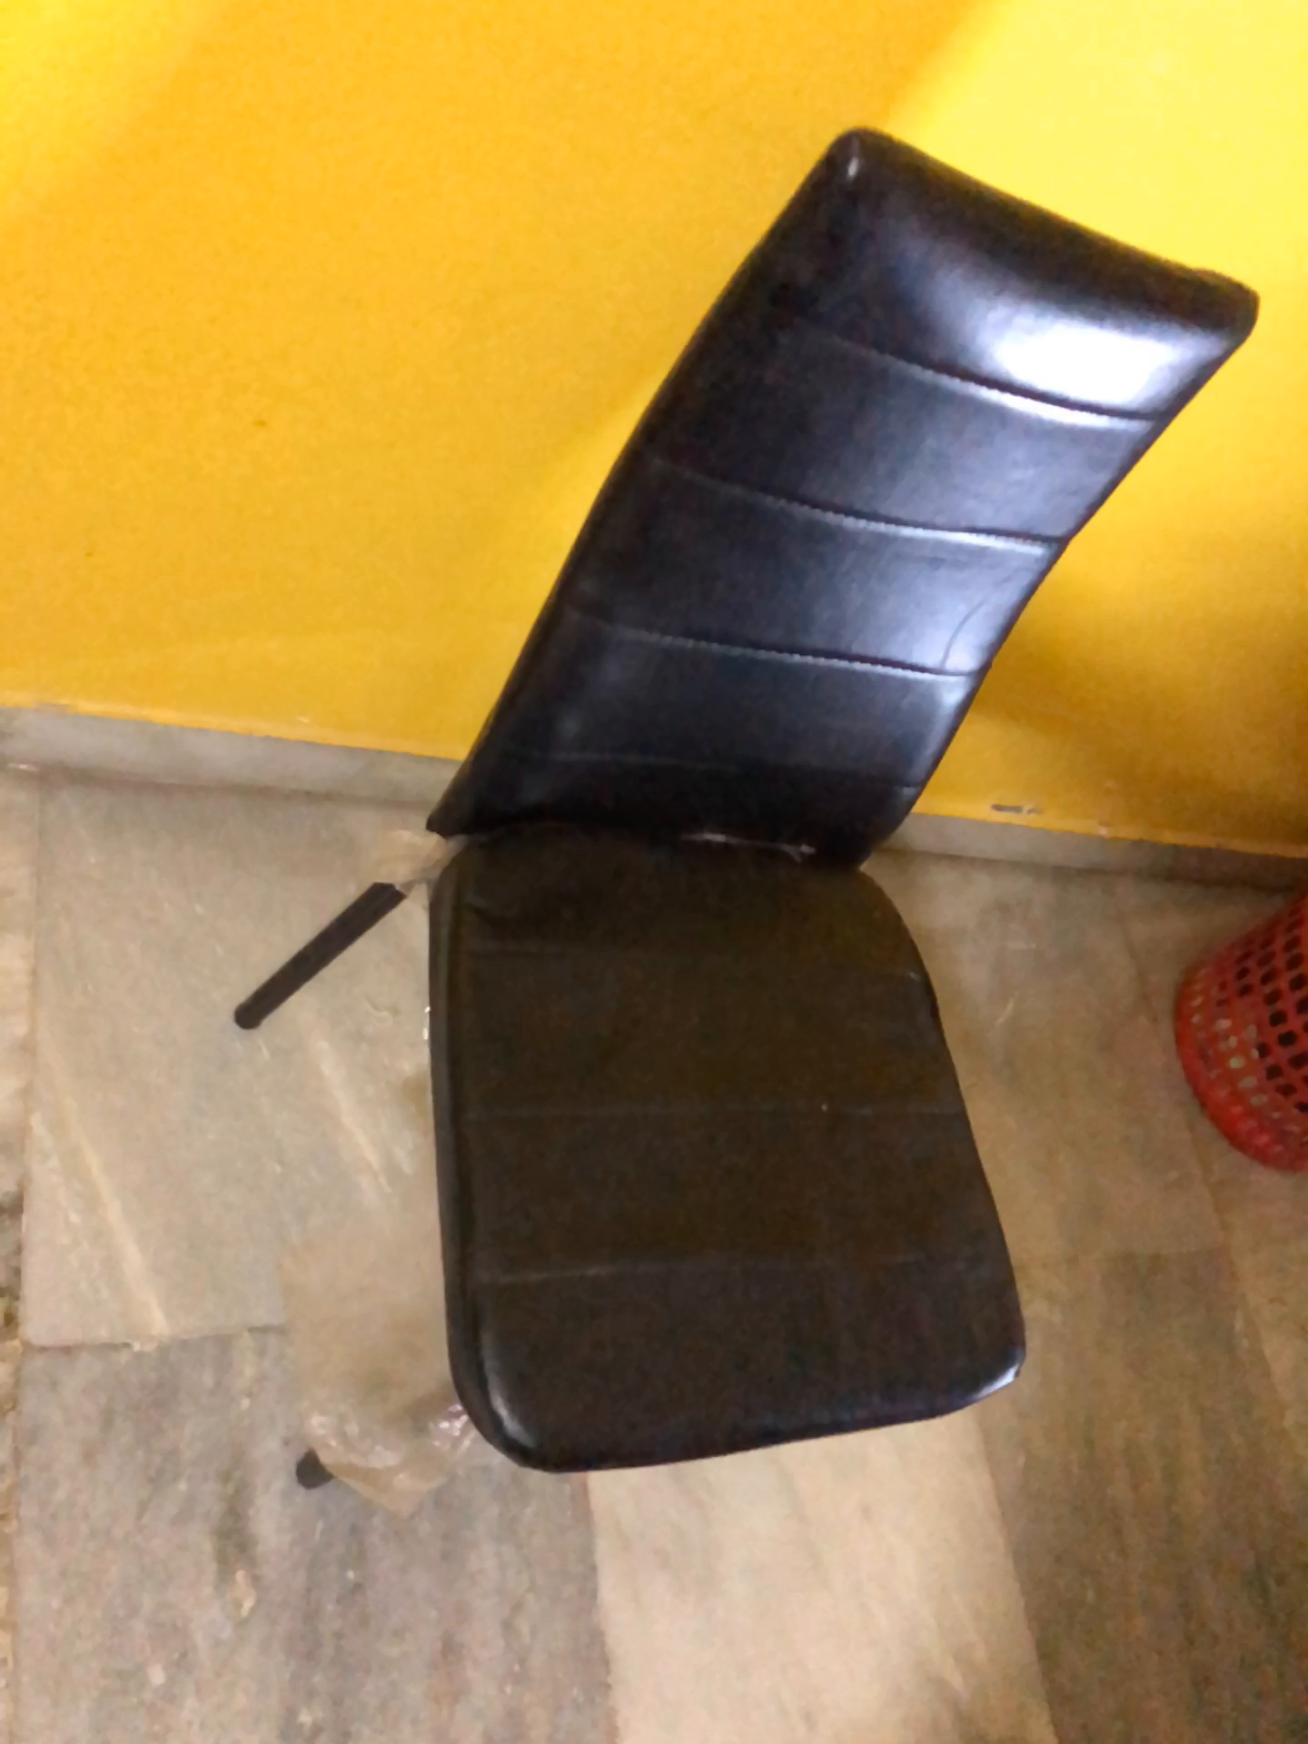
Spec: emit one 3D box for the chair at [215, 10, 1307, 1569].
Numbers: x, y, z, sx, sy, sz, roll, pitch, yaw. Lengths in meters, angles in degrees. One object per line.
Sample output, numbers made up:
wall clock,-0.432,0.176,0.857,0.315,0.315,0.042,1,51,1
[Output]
chair,0.067,0.098,0.944,0.482,0.903,0.532,6,60,-29
